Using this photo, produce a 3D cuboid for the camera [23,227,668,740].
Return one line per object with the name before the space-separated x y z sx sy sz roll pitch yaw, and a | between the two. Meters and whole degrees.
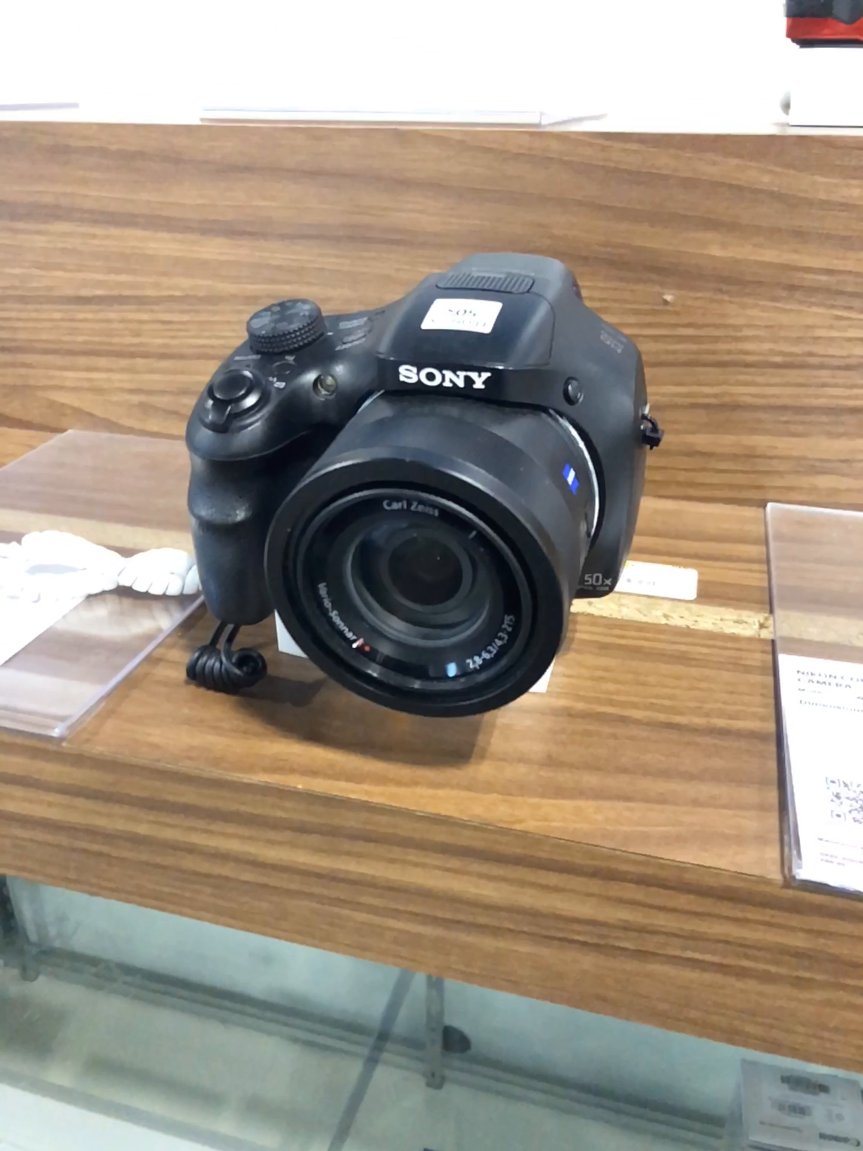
camera | -0.008 -0.039 0.264 0.130 0.089 0.131 6 27 12
